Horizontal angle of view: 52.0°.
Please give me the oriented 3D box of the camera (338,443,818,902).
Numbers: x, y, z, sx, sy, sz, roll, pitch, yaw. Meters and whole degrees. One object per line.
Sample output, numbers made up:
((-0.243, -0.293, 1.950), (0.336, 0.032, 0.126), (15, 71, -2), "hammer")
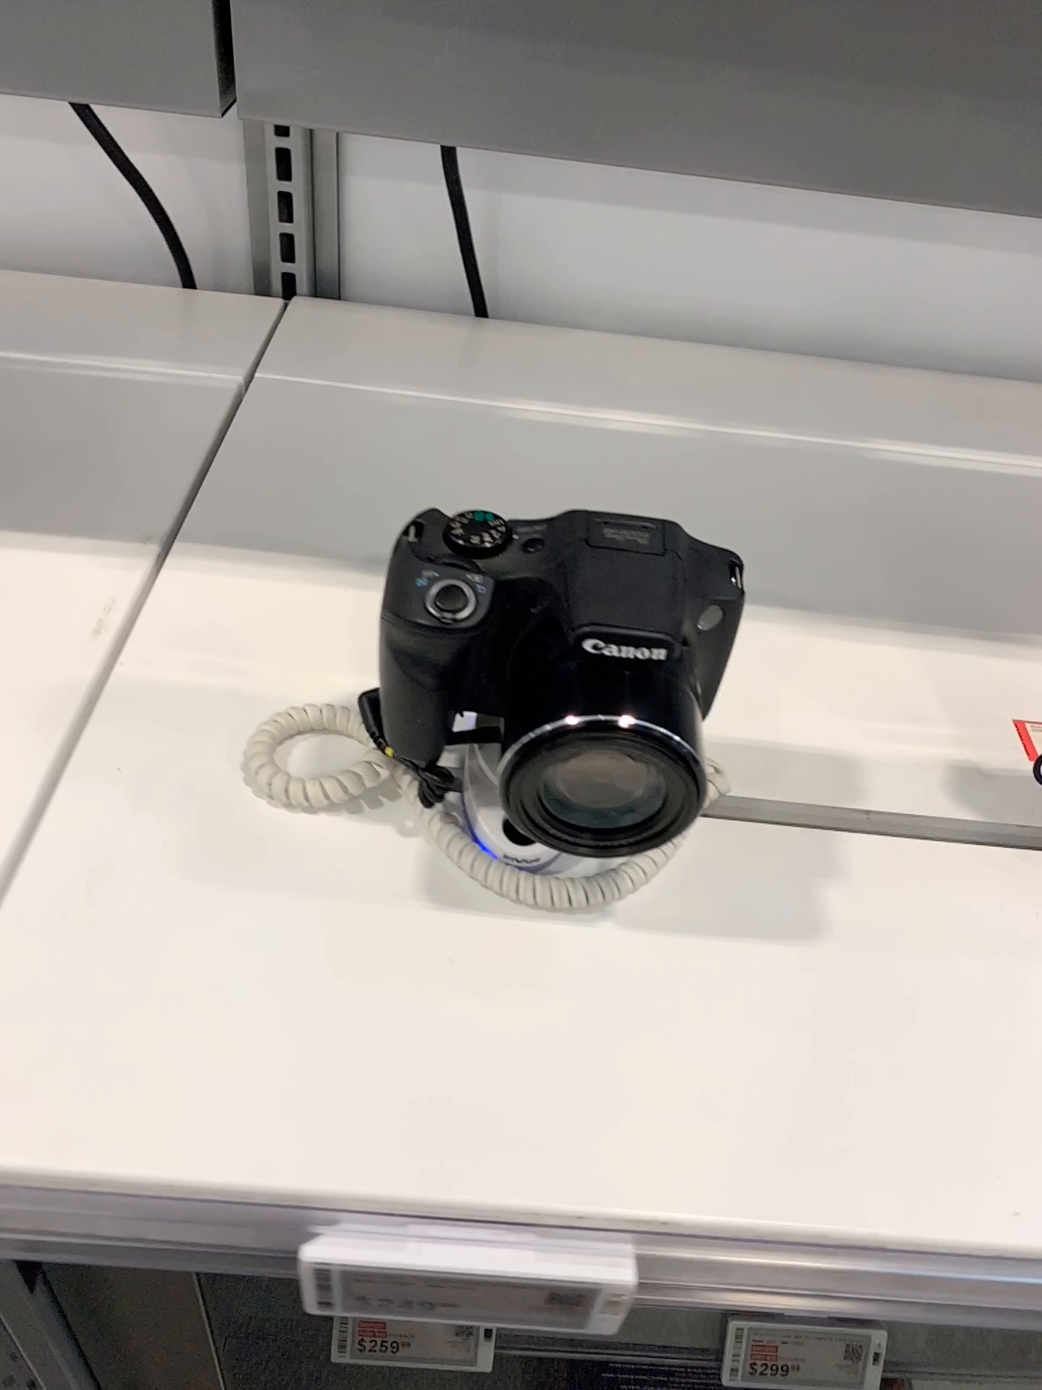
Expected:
((0.011, -0.008, 0.332), (0.120, 0.090, 0.101), (4, 42, -3), "camera")

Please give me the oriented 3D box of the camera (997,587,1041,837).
((0.246, 0.007, 0.378), (0.120, 0.070, 0.040), (5, 42, -3), "camera")
